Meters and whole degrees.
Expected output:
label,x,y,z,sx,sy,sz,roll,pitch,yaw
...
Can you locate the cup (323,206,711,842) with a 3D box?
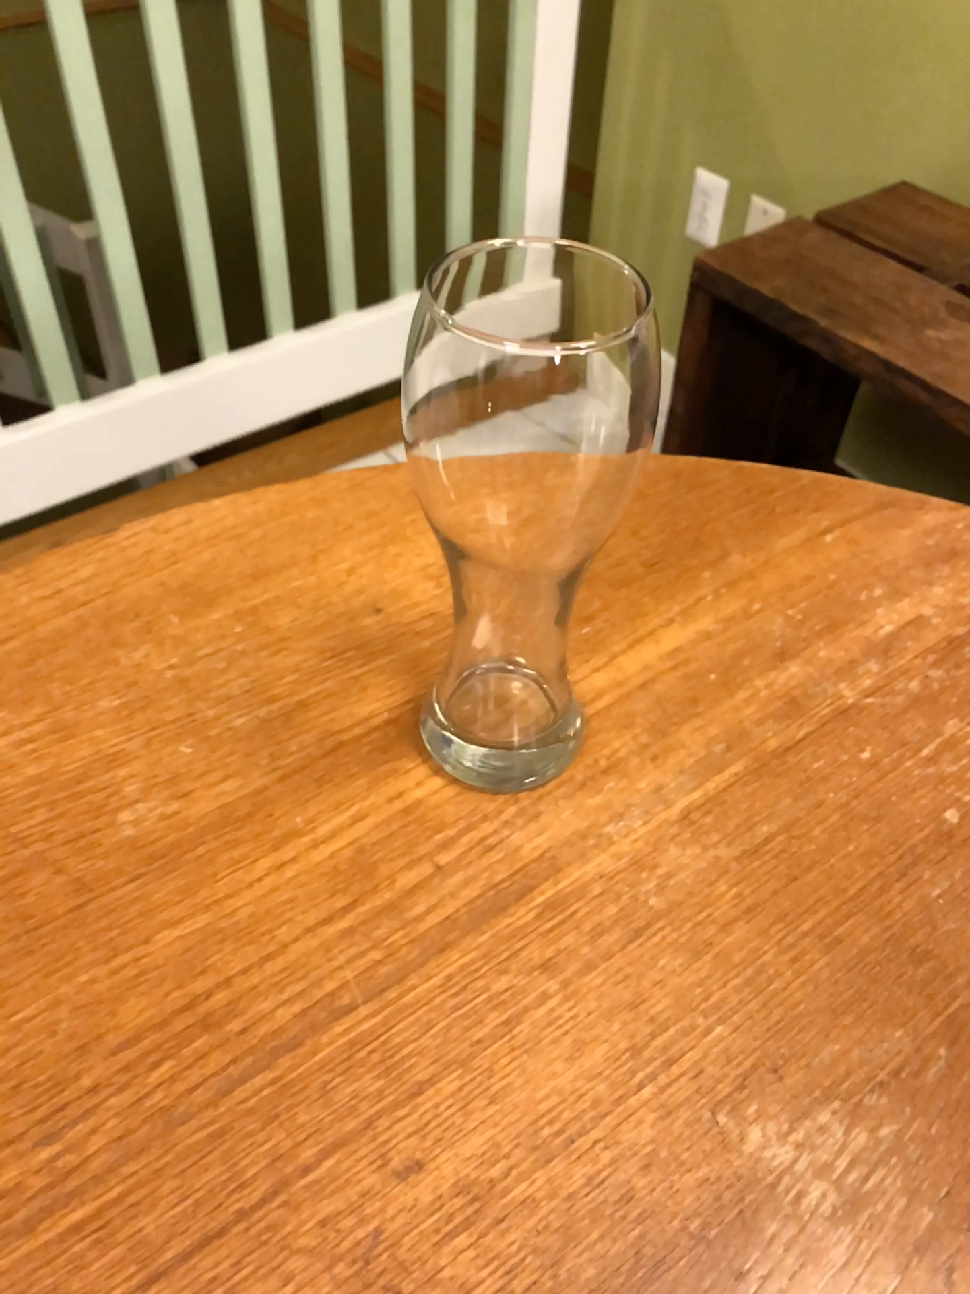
label,x,y,z,sx,sy,sz,roll,pitch,yaw
cup,0.008,-0.039,0.429,0.094,0.222,0.088,1,45,-1
